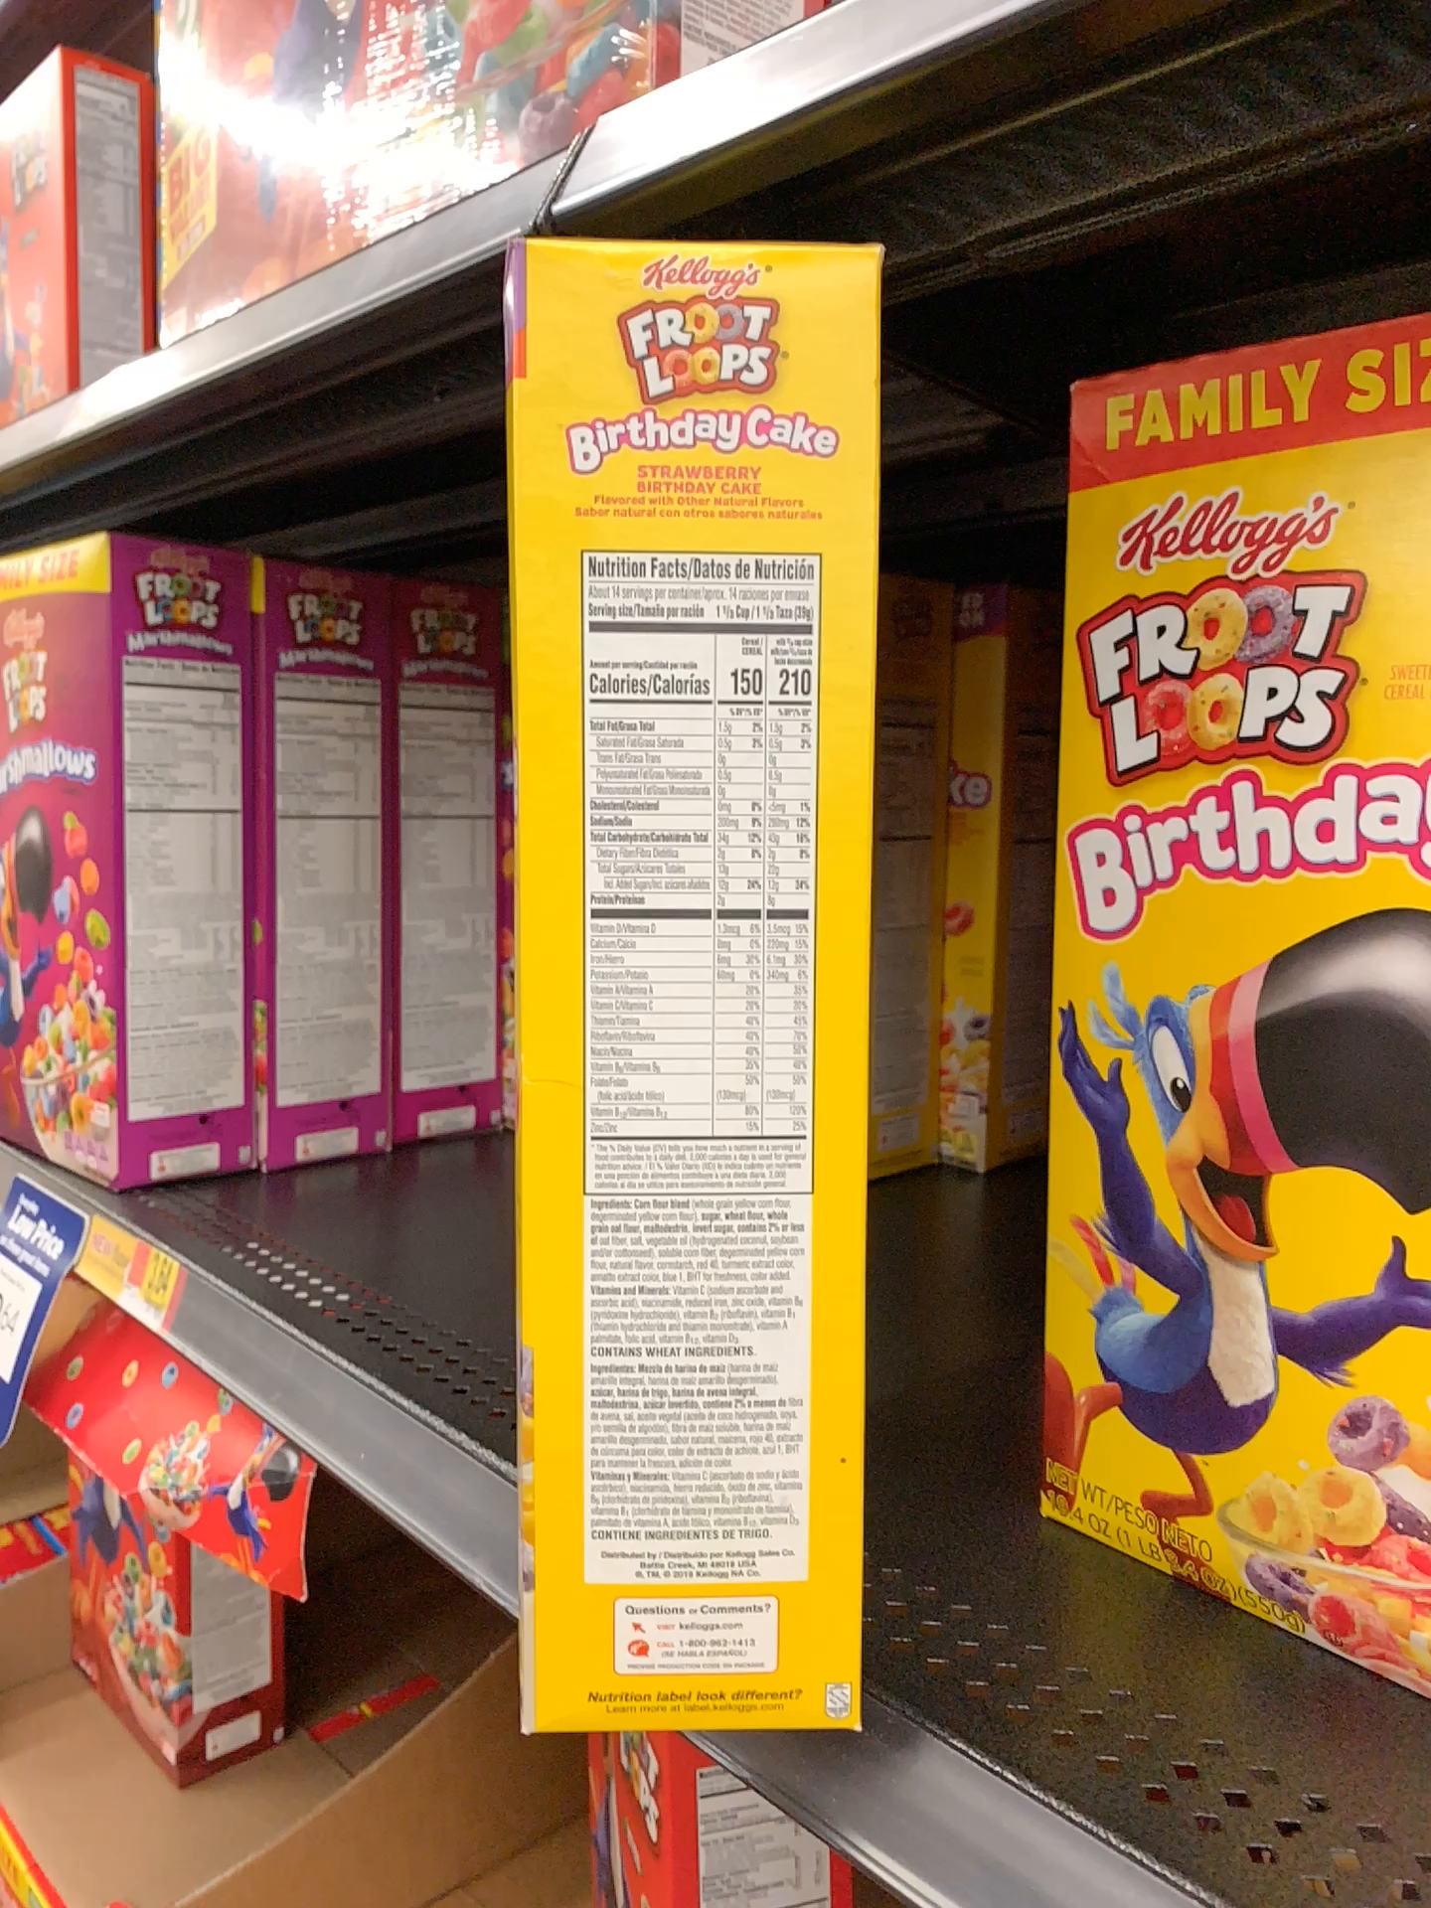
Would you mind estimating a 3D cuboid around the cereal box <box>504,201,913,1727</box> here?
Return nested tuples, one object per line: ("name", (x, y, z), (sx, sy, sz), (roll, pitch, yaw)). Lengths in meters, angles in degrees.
("cereal box", (-0.009, 0.000, 0.418), (0.080, 0.329, 0.200), (1, 7, -3))
